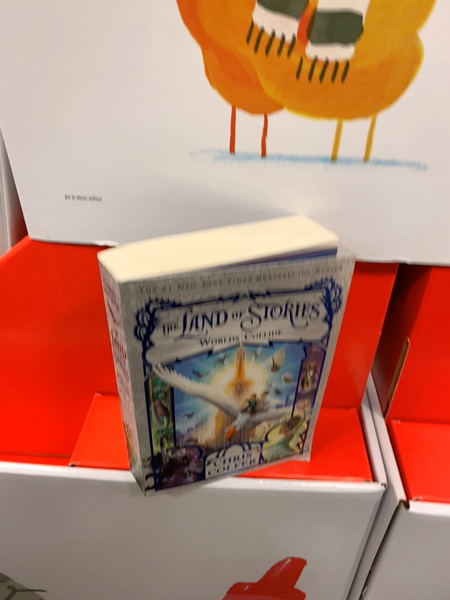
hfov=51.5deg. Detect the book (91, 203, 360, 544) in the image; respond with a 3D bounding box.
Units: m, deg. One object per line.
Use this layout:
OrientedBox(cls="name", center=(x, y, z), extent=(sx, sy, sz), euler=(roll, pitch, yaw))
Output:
OrientedBox(cls="book", center=(0.001, 0.051, 0.306), extent=(0.130, 0.193, 0.065), euler=(-17, 38, -23))
